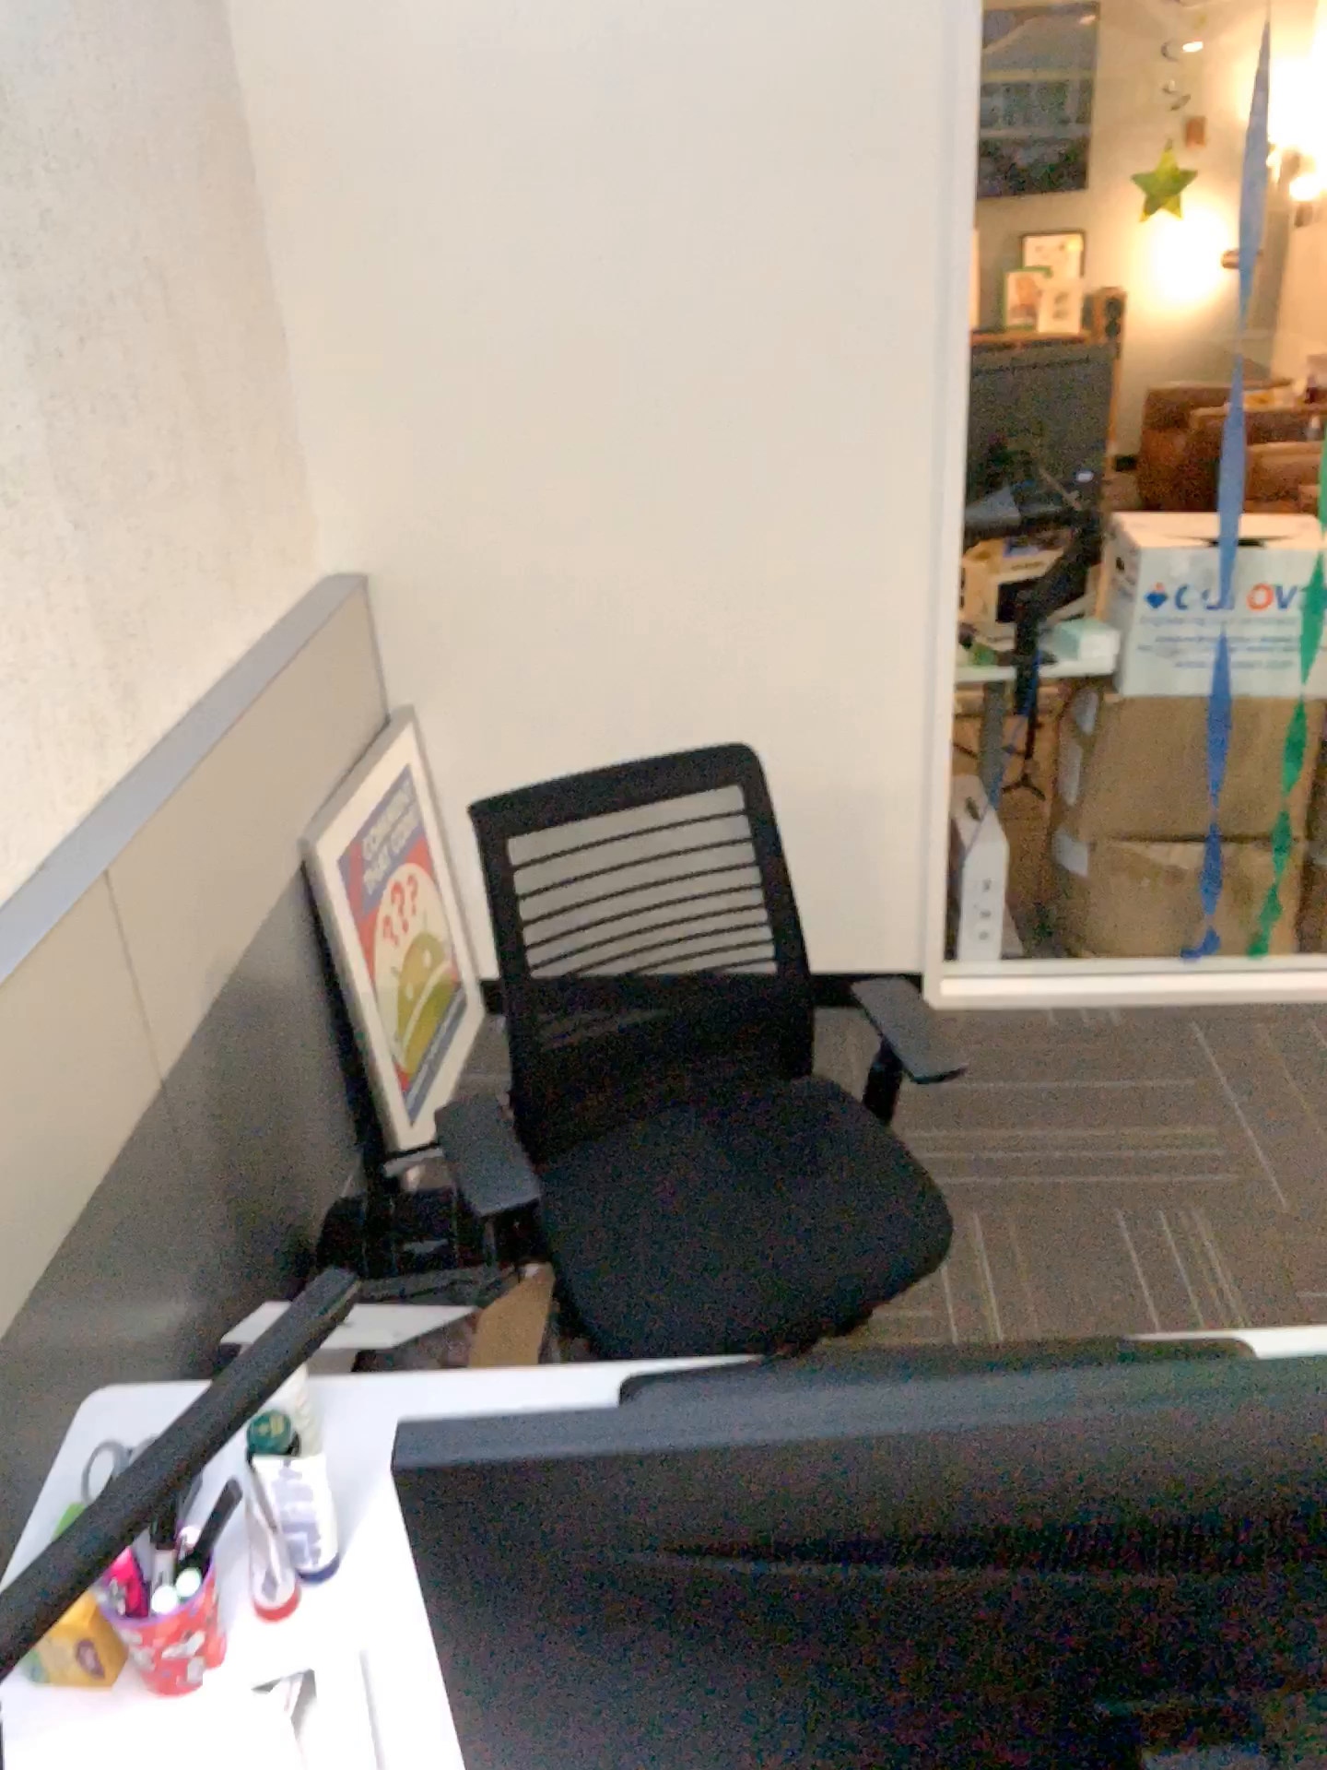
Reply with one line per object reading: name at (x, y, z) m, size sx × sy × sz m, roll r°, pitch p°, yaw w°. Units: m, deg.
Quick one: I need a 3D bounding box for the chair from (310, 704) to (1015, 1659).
chair at (-0.012, 0.361, 1.921) m, size 0.670 × 0.954 × 0.654 m, roll -15°, pitch 30°, yaw -20°
